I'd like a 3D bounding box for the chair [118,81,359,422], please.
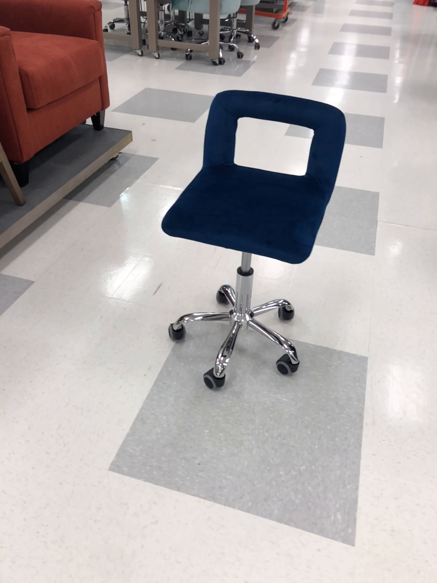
[{"bbox_3d":[0.075,-0.126,1.347,0.447,0.719,0.532,12,38,13],"label":"chair"}]
